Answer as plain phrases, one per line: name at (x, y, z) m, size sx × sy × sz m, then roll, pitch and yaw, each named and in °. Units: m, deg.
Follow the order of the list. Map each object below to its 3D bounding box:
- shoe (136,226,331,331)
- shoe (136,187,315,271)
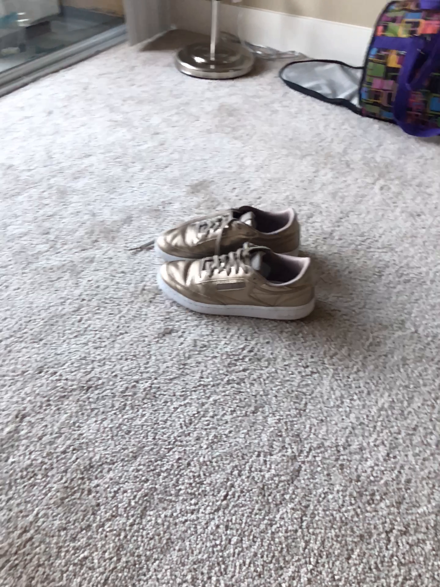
shoe at (0.024, -0.026, 0.752) m, size 0.280 × 0.070 × 0.111 m, roll 8°, pitch 44°, yaw 6°
shoe at (0.011, -0.111, 0.820) m, size 0.280 × 0.070 × 0.111 m, roll 4°, pitch 43°, yaw 2°
